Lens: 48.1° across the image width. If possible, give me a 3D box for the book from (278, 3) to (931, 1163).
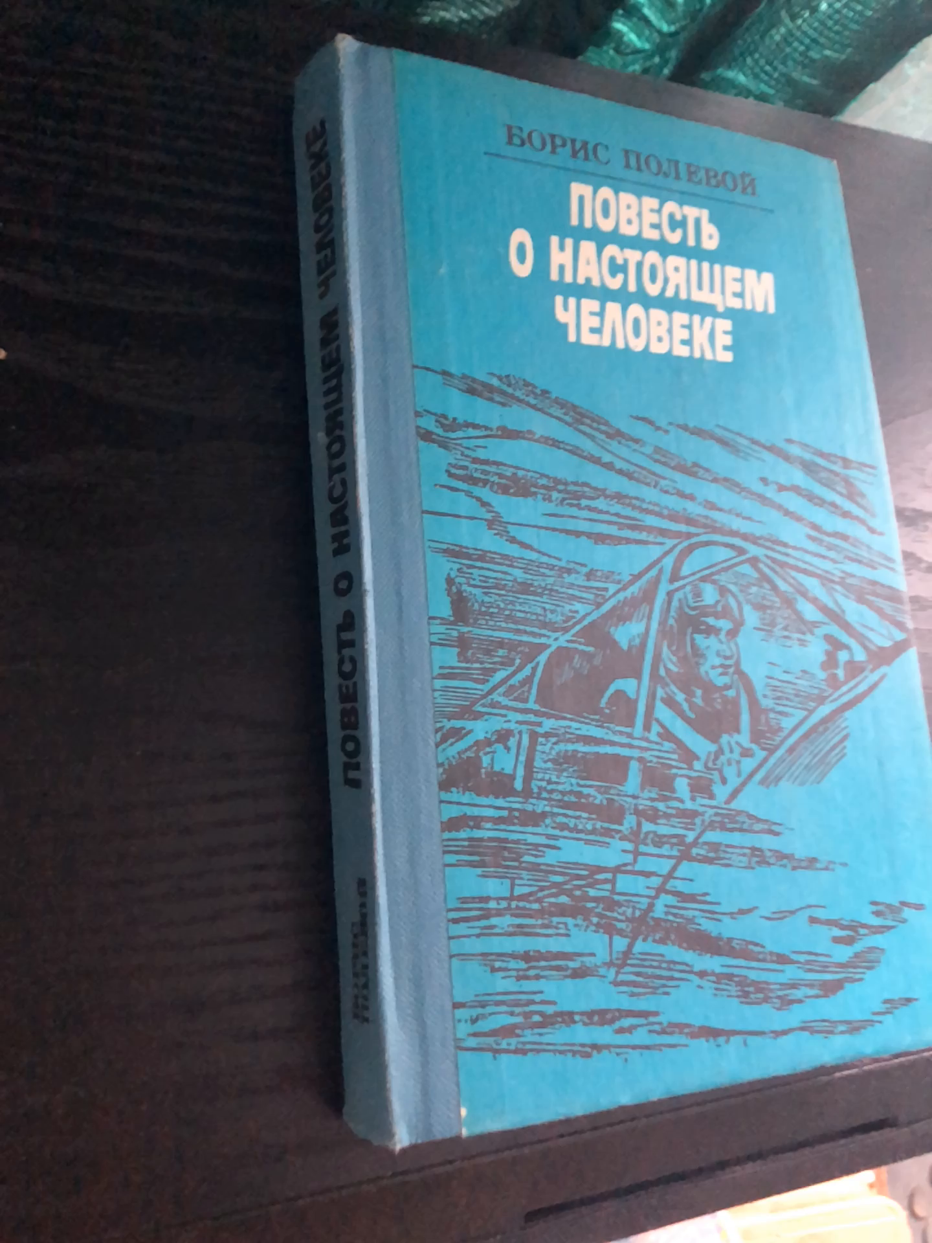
[{"bbox_3d":[0.031,-0.014,0.200,0.123,0.019,0.190,0,78,-24],"label":"book"}]
